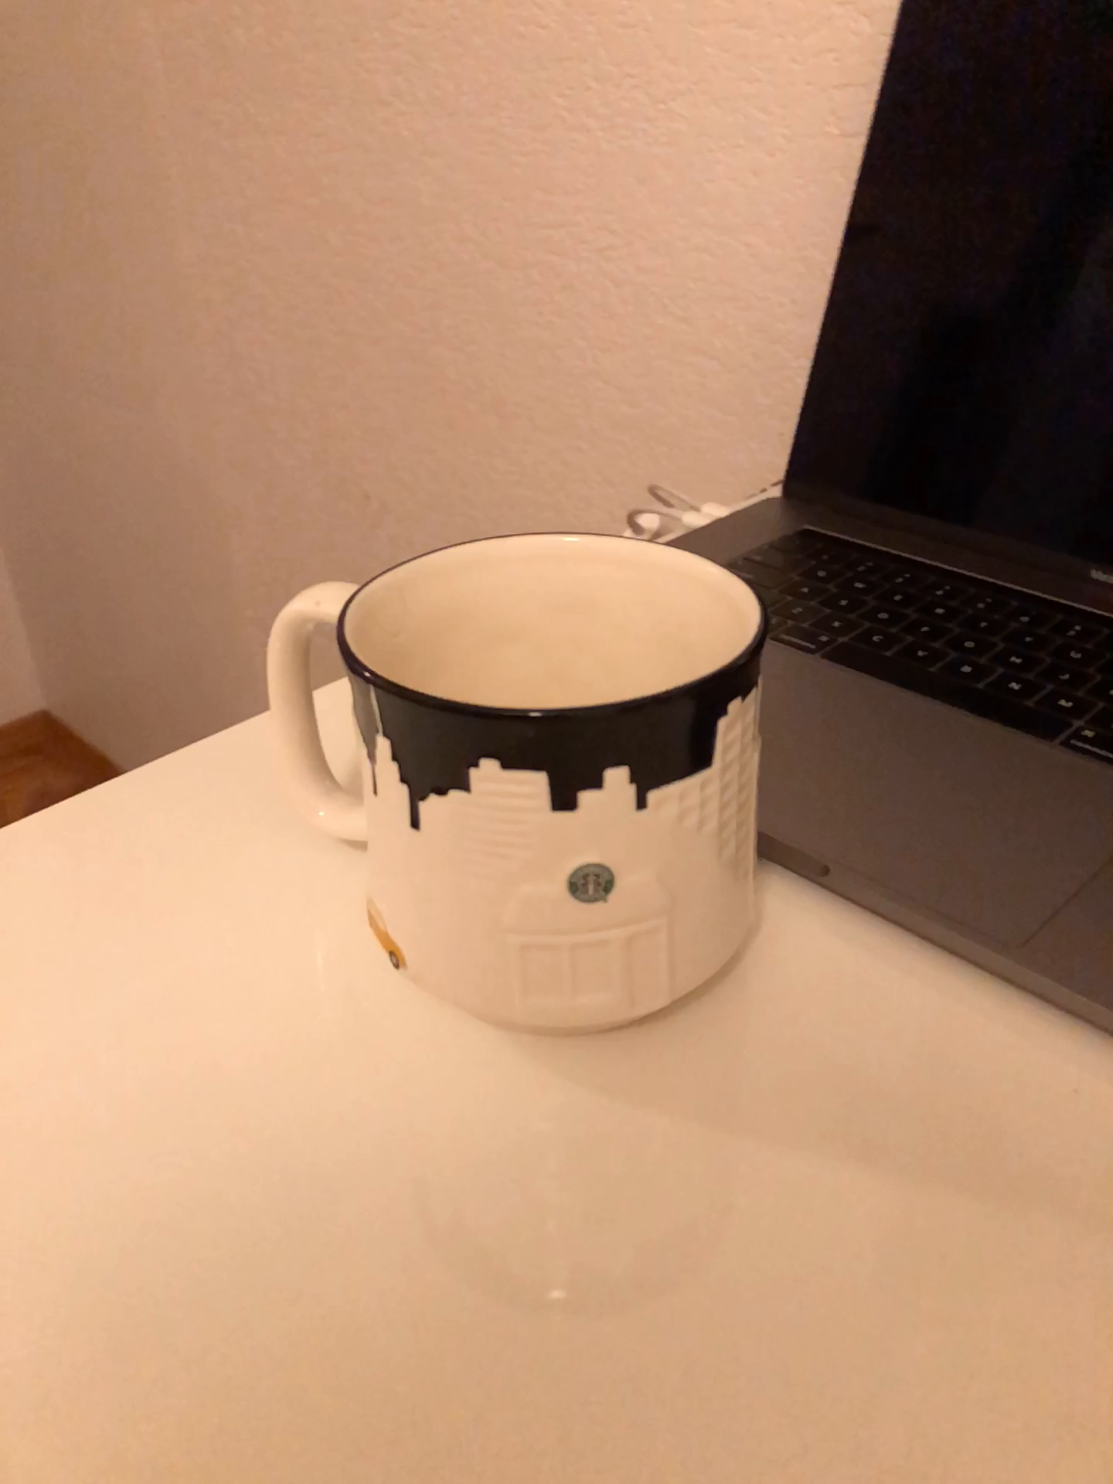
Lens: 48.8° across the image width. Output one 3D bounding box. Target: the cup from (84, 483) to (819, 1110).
[{"bbox_3d":[-0.020,0.003,0.333,0.150,0.099,0.111,11,33,23],"label":"cup"}]
